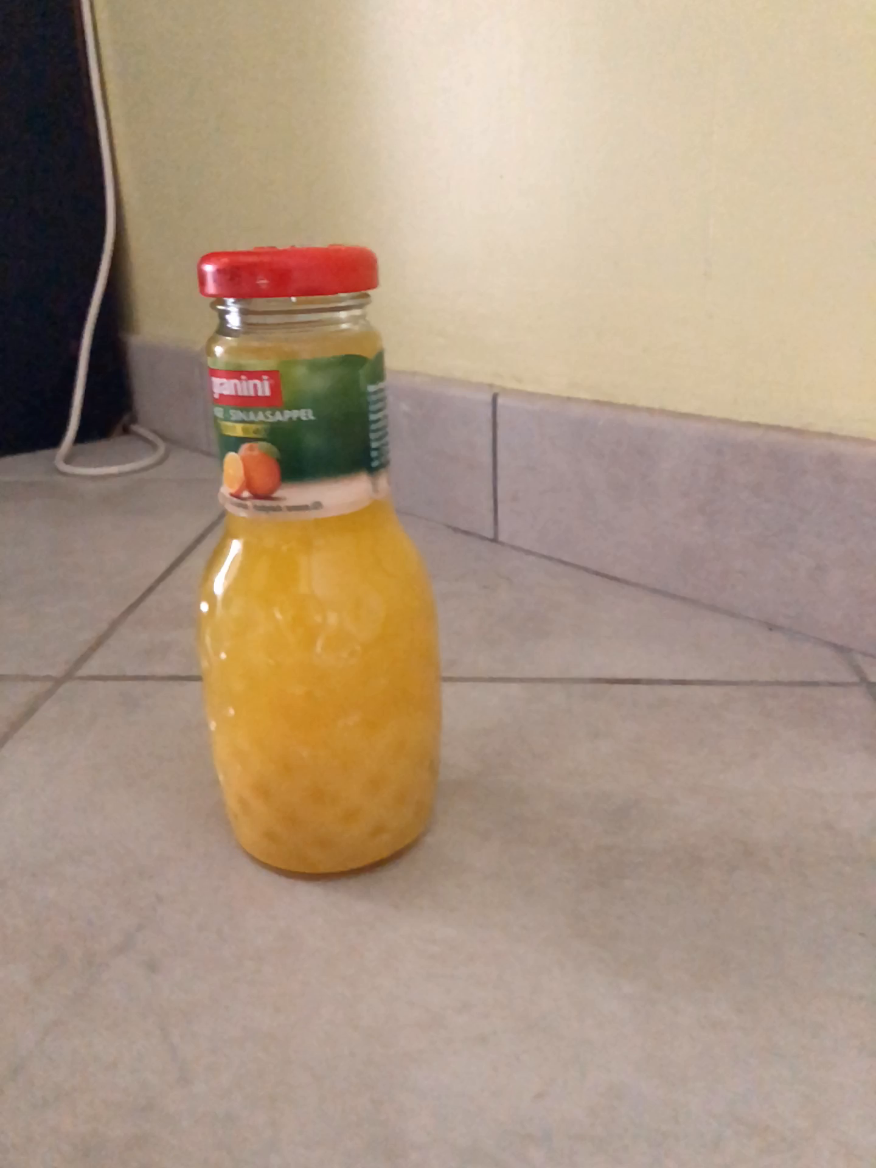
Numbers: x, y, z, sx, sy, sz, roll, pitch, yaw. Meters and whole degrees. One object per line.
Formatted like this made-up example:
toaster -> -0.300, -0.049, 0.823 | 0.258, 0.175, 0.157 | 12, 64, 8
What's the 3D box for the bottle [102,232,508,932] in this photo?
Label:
bottle -> -0.028, -0.005, 0.252 | 0.070, 0.159, 0.060 | 13, 25, 34
